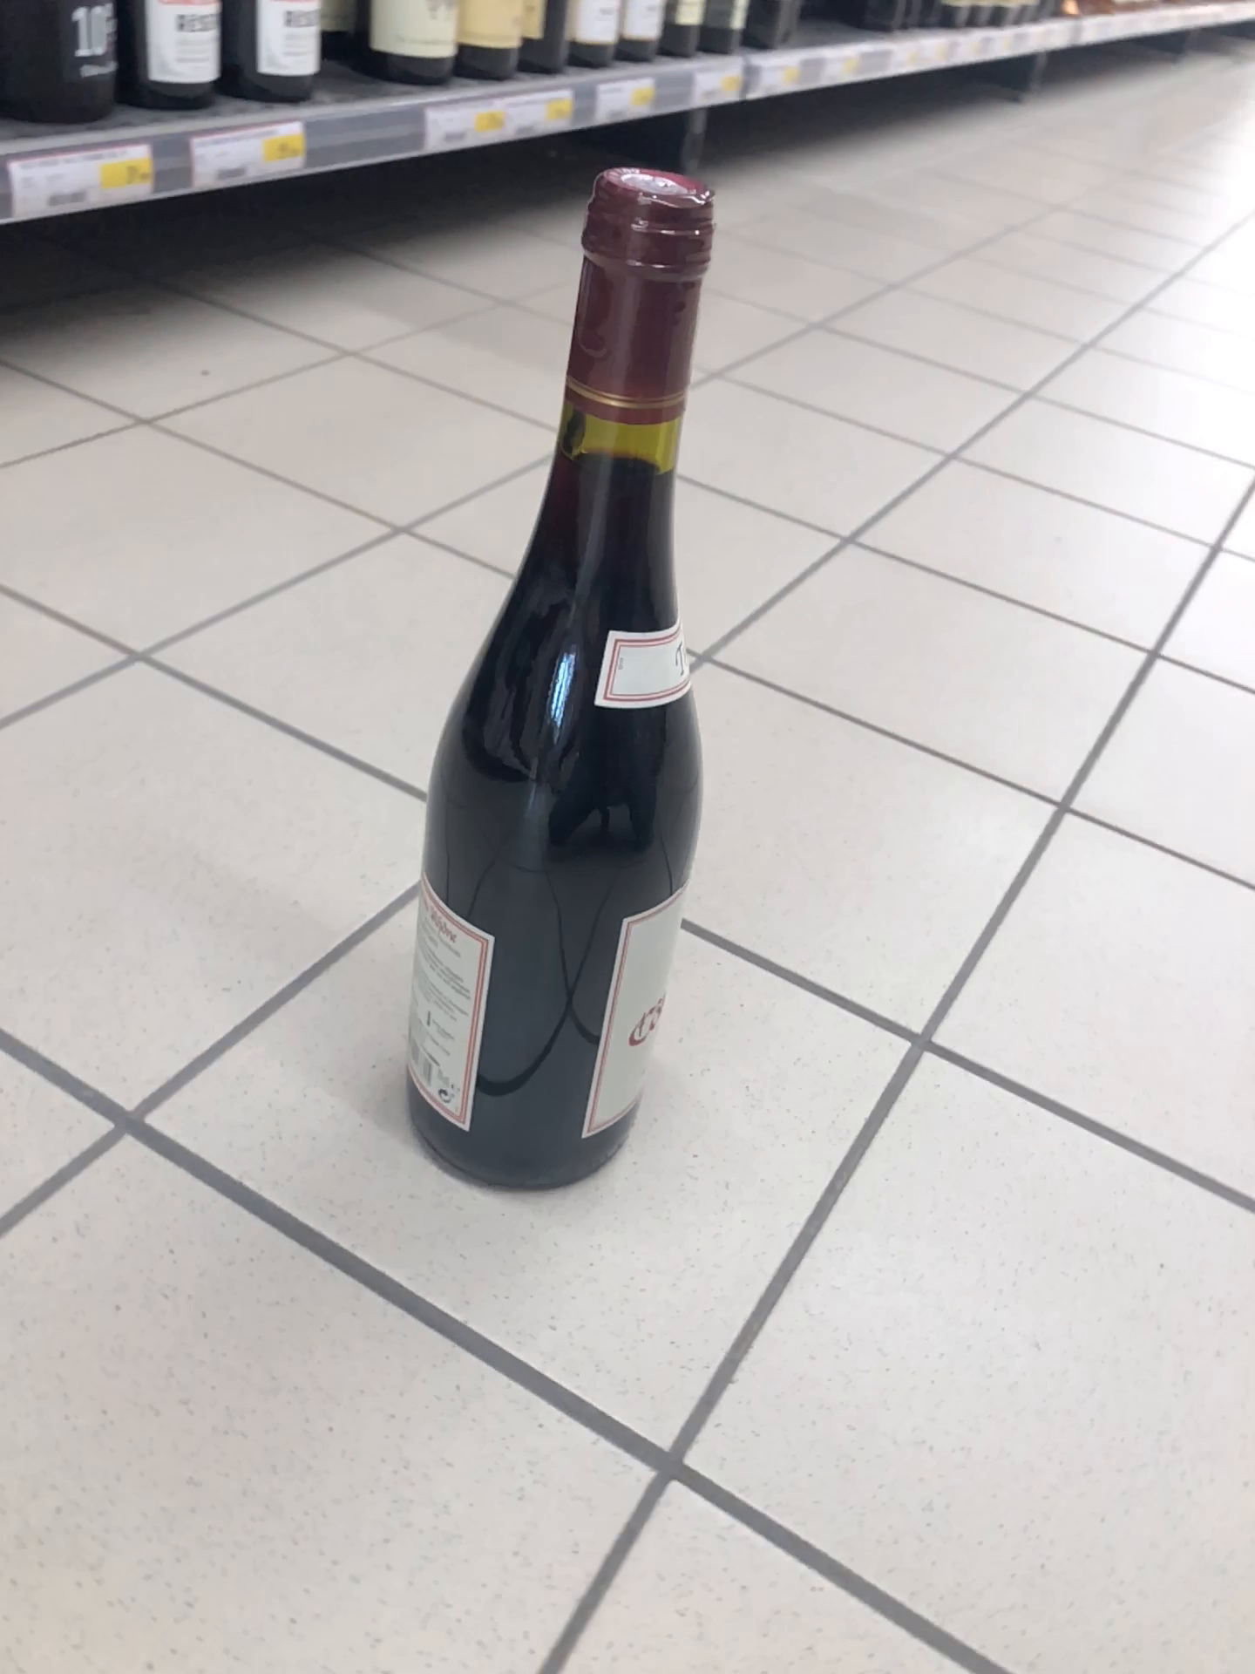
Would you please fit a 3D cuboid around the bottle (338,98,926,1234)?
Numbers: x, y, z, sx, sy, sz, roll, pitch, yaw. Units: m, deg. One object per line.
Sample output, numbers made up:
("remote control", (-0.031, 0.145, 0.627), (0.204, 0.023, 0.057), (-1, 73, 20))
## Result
("bottle", (-0.019, -0.029, 0.381), (0.090, 0.288, 0.090), (7, 36, -5))
